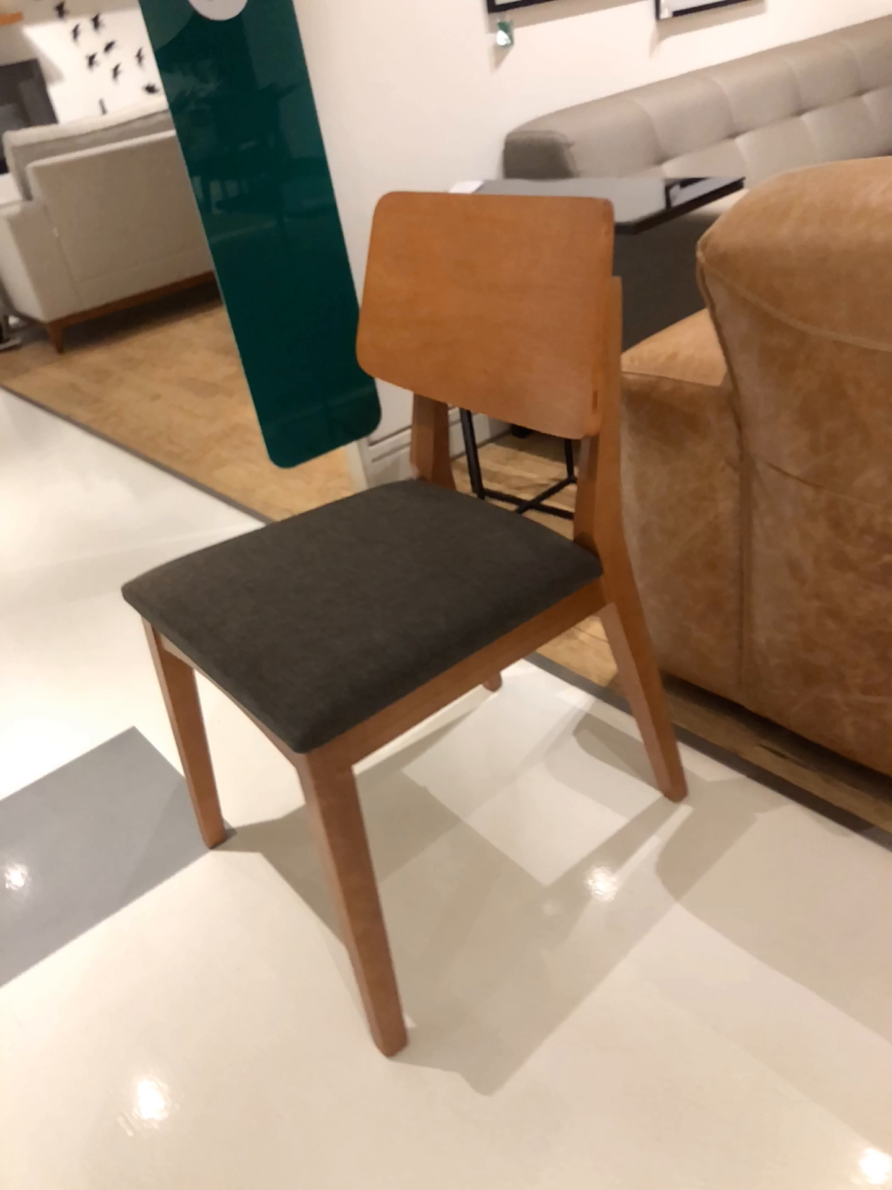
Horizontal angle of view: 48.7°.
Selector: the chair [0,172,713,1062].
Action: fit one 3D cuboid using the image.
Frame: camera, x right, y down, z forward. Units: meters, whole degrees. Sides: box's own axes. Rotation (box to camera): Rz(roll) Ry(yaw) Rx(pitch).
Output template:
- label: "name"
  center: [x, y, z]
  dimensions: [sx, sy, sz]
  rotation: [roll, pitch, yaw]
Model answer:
- label: "chair"
  center: [-0.070, -0.022, 1.192]
  dimensions: [0.562, 0.794, 0.482]
  rotation: [-29, 34, -28]
